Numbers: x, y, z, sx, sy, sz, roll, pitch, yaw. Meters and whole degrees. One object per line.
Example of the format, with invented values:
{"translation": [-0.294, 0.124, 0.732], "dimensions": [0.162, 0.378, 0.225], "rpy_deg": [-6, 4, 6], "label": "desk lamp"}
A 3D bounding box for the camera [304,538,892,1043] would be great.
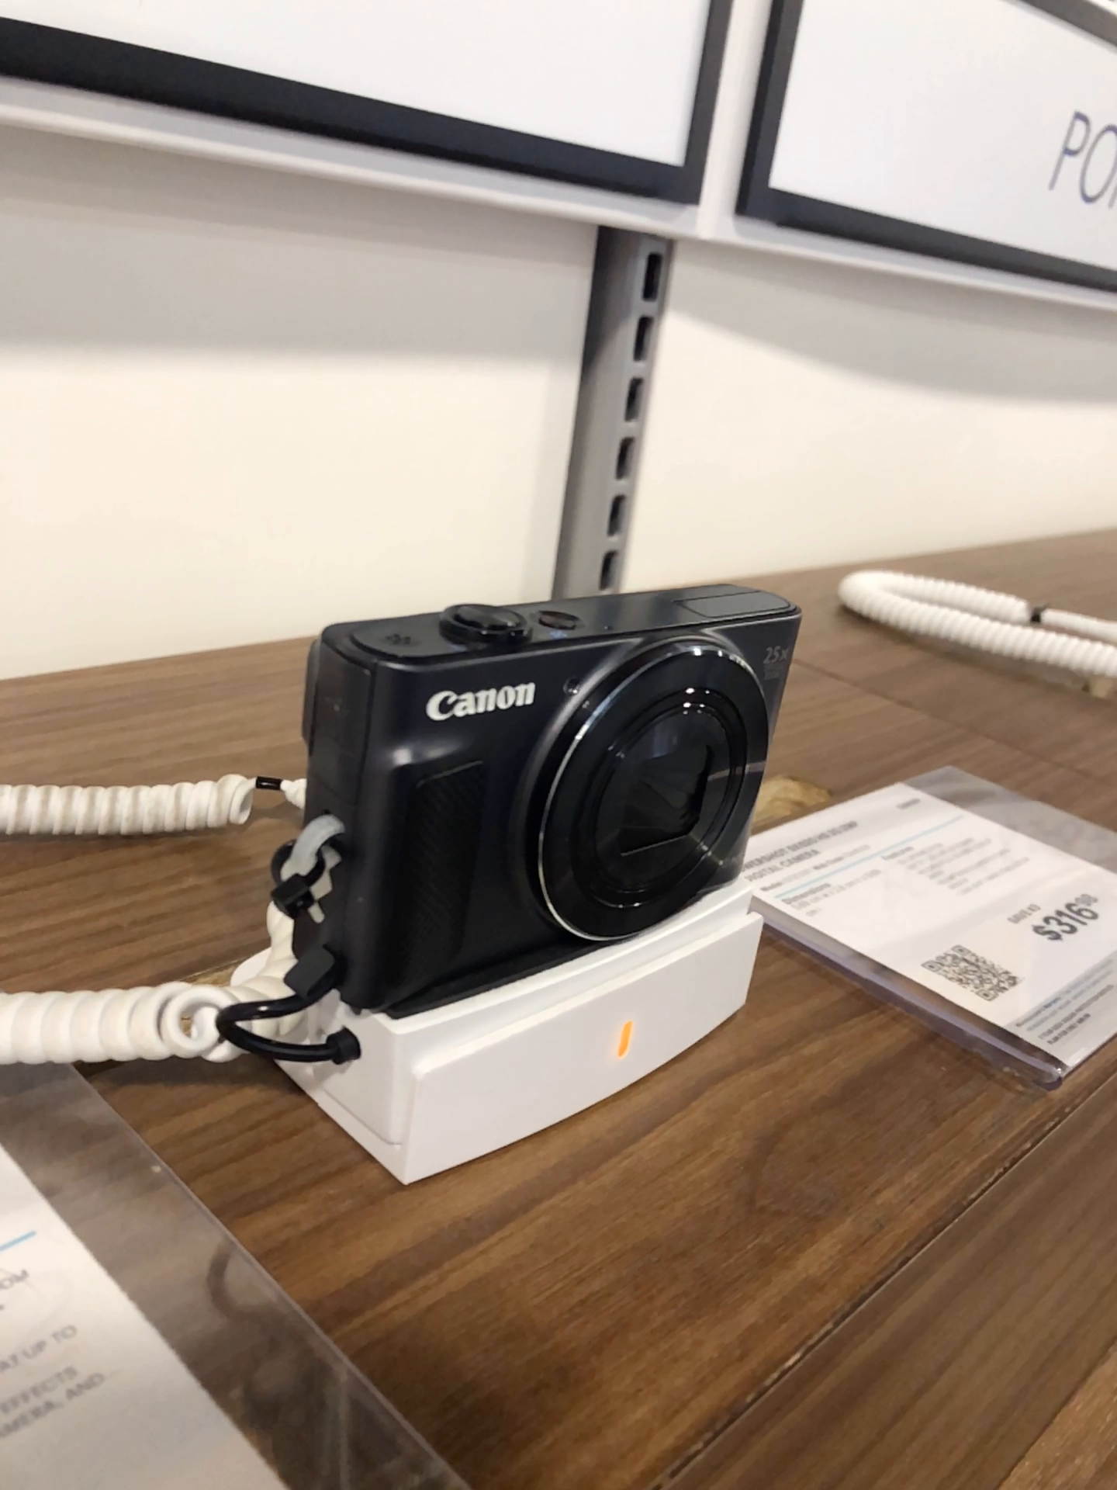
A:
{"translation": [0.010, 0.001, 0.207], "dimensions": [0.100, 0.060, 0.030], "rpy_deg": [-13, 28, -43], "label": "camera"}
